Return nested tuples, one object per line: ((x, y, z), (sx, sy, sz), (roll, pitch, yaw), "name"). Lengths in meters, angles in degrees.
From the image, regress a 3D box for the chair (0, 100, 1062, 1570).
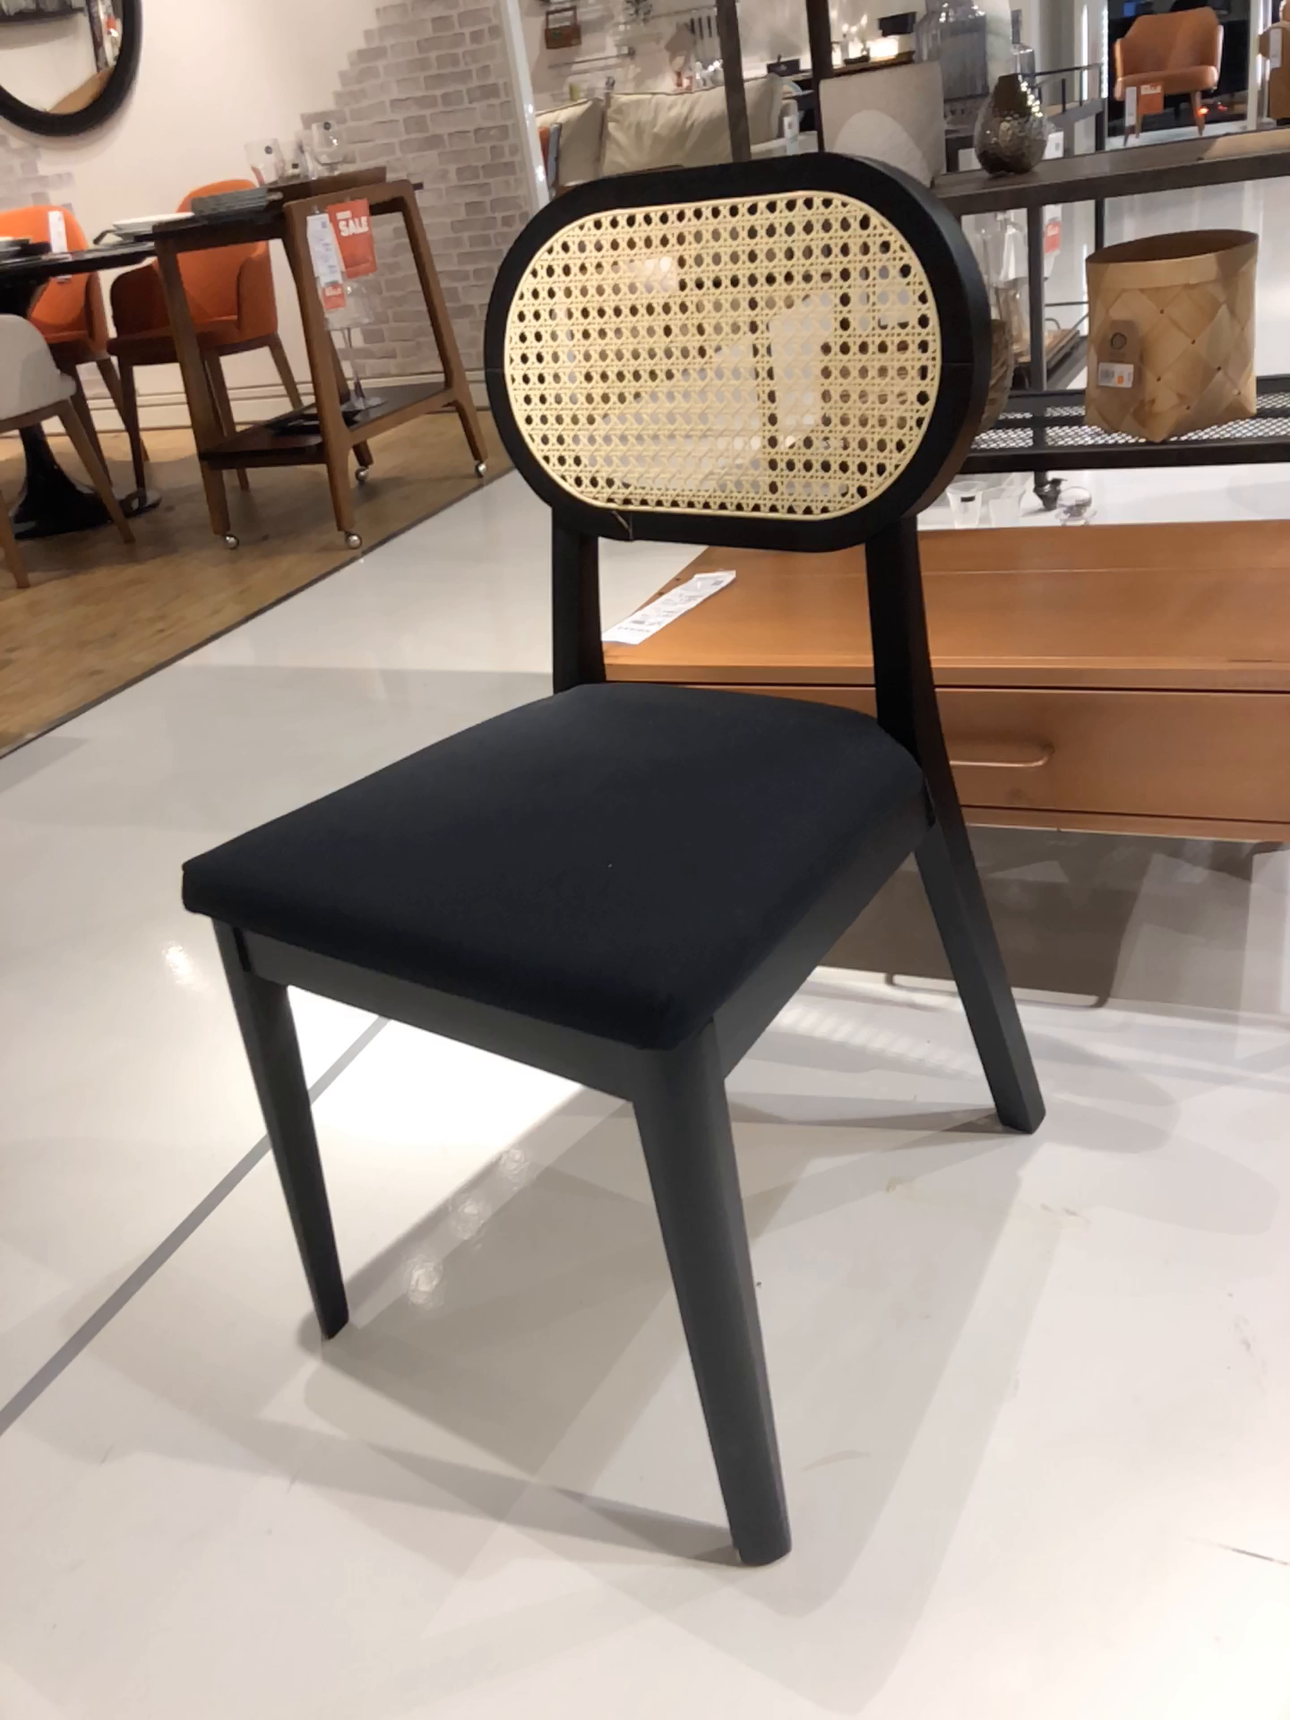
((-0.030, -0.060, 1.058), (0.501, 0.804, 0.543), (11, 33, 33), "chair")
